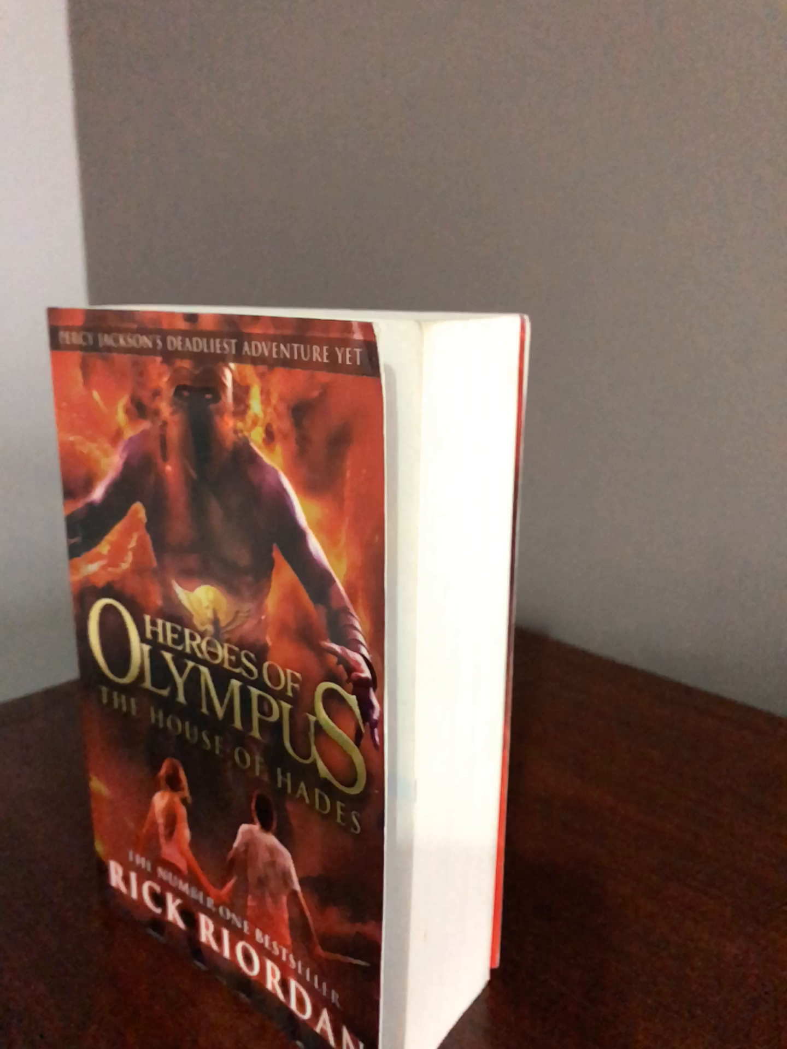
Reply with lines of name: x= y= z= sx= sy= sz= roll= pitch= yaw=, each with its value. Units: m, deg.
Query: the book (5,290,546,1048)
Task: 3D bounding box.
book: x=-0.037 y=0.036 z=0.258 sx=0.140 sy=0.199 sz=0.060 roll=12 pitch=19 yaw=36
